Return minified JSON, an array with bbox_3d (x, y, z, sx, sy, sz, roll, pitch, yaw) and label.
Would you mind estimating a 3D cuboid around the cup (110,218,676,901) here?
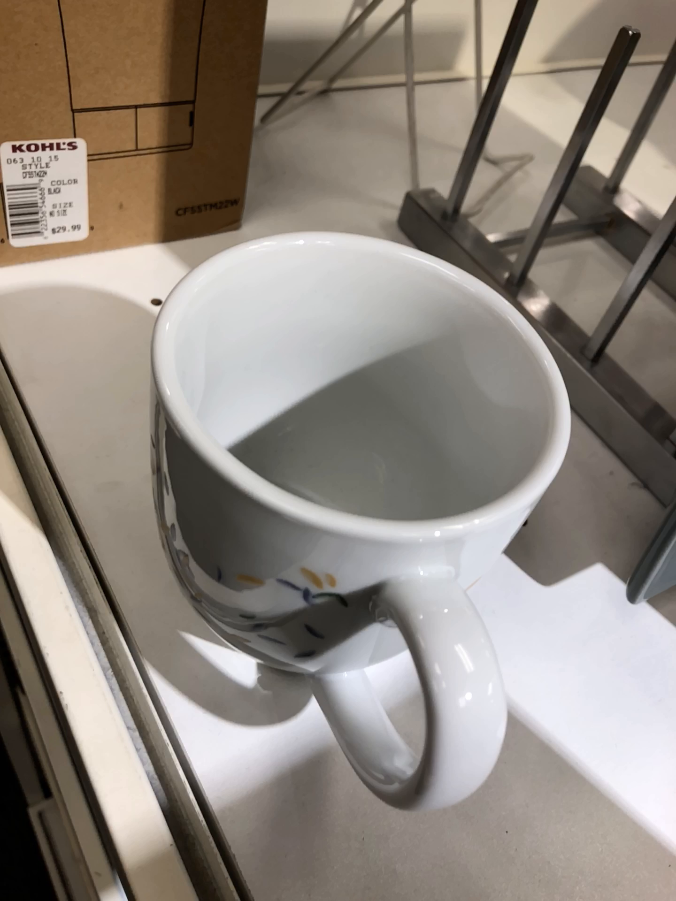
[{"bbox_3d":[0.003,0.021,0.189,0.093,0.091,0.128,-9,53,-21],"label":"cup"}]
